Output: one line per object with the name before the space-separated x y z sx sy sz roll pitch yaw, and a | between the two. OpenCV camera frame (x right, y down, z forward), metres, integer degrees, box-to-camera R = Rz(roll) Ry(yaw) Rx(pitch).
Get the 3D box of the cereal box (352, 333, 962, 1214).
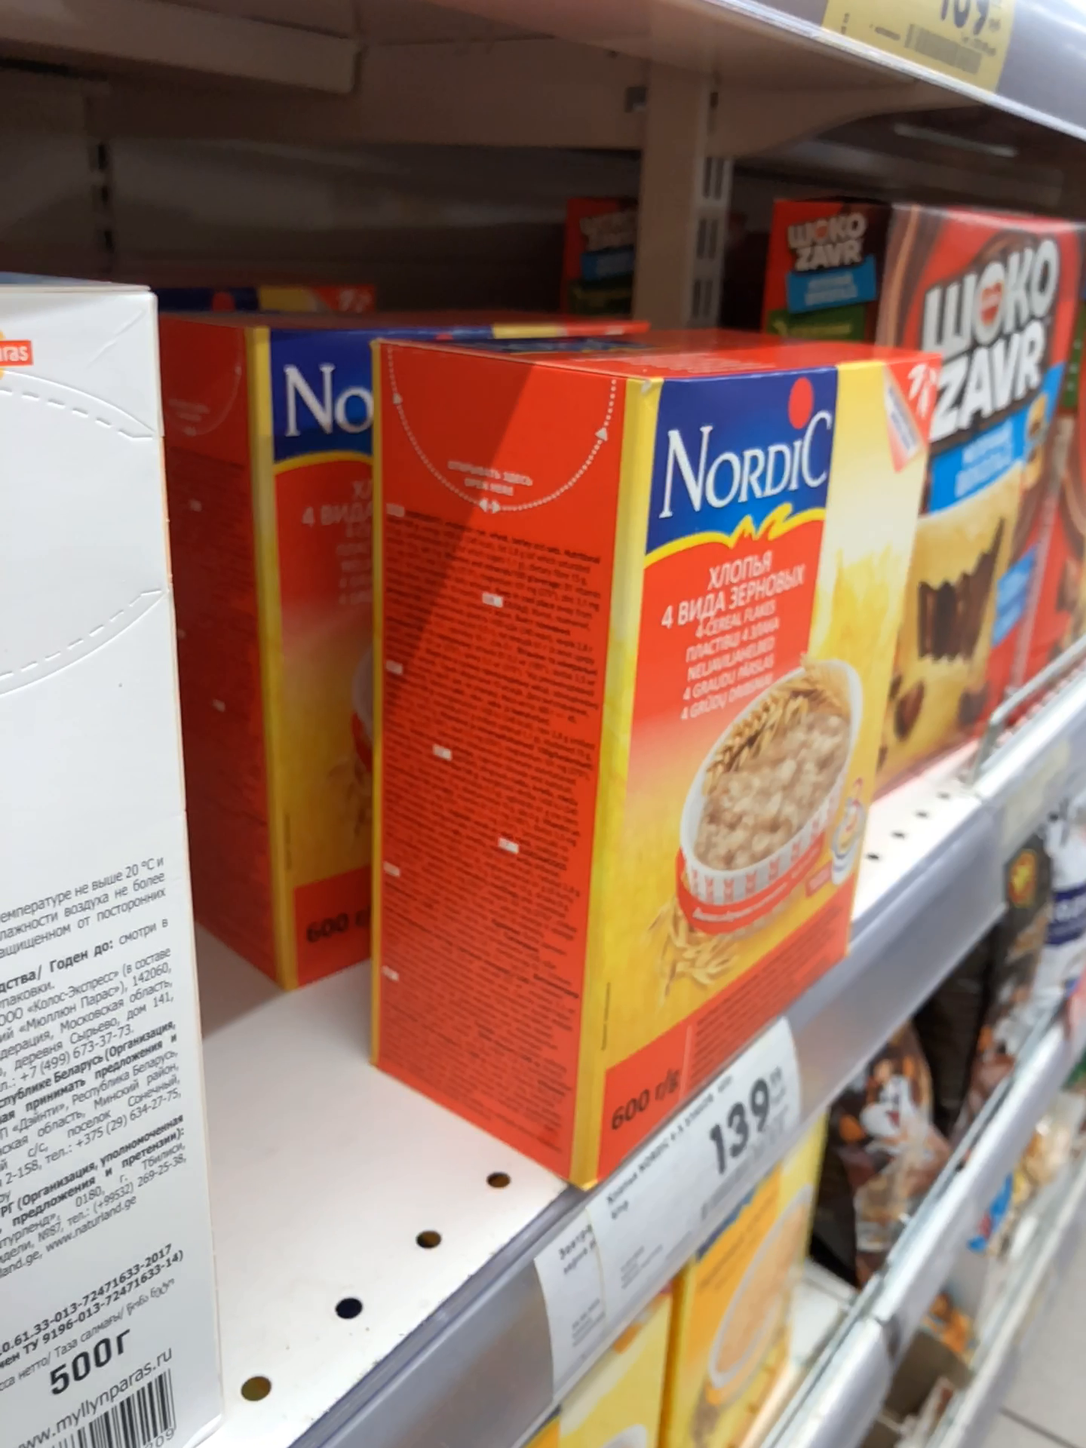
cereal box | 0.032 -0.003 0.333 0.080 0.189 0.151 18 26 34
